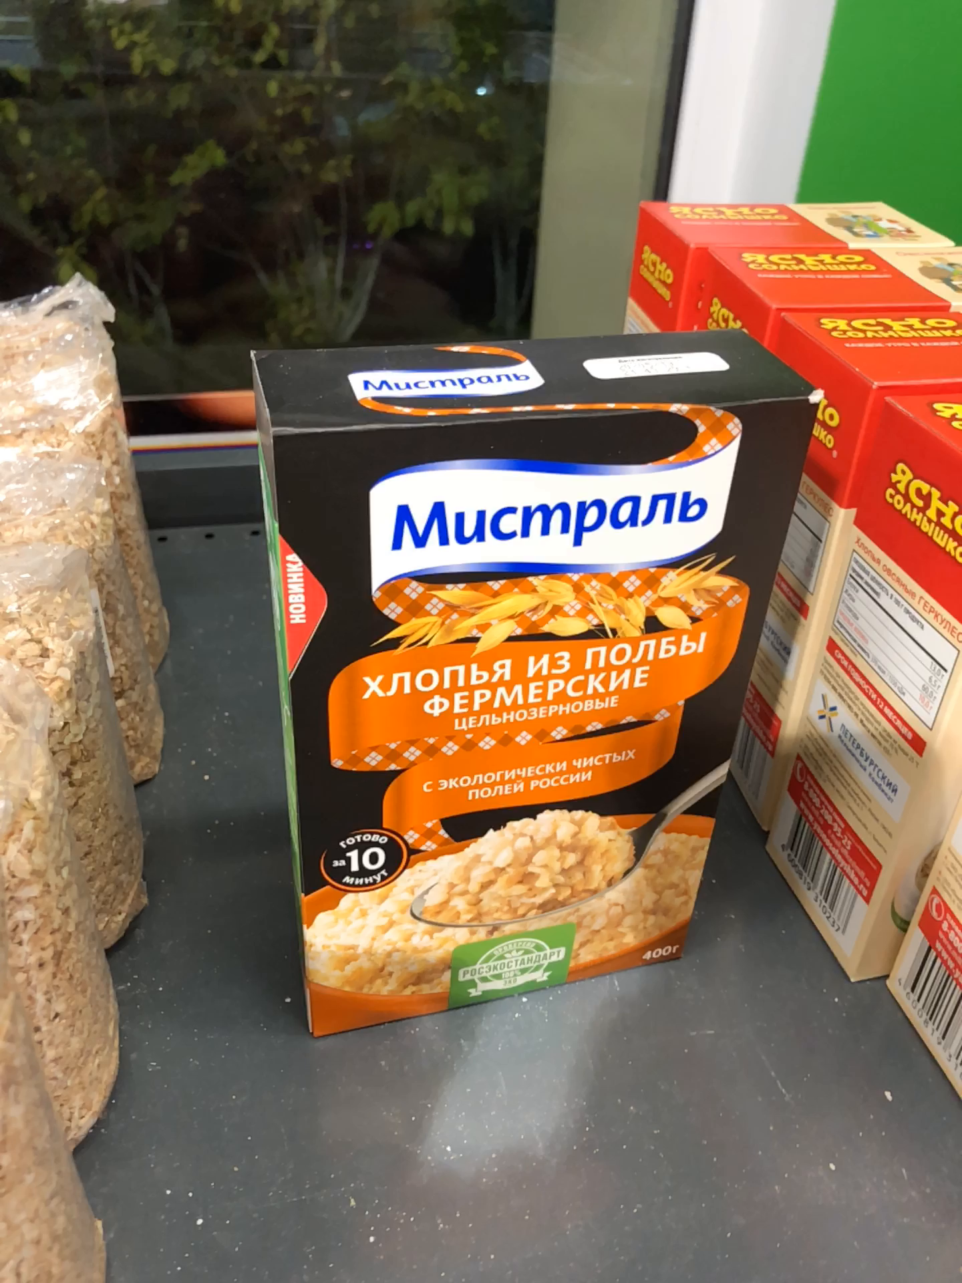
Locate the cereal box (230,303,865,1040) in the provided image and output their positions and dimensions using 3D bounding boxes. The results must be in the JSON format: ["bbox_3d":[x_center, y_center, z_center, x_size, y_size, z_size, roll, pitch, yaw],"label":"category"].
[{"bbox_3d":[0.010,0.017,0.310,0.140,0.209,0.050,-7,37,-14],"label":"cereal box"}]
